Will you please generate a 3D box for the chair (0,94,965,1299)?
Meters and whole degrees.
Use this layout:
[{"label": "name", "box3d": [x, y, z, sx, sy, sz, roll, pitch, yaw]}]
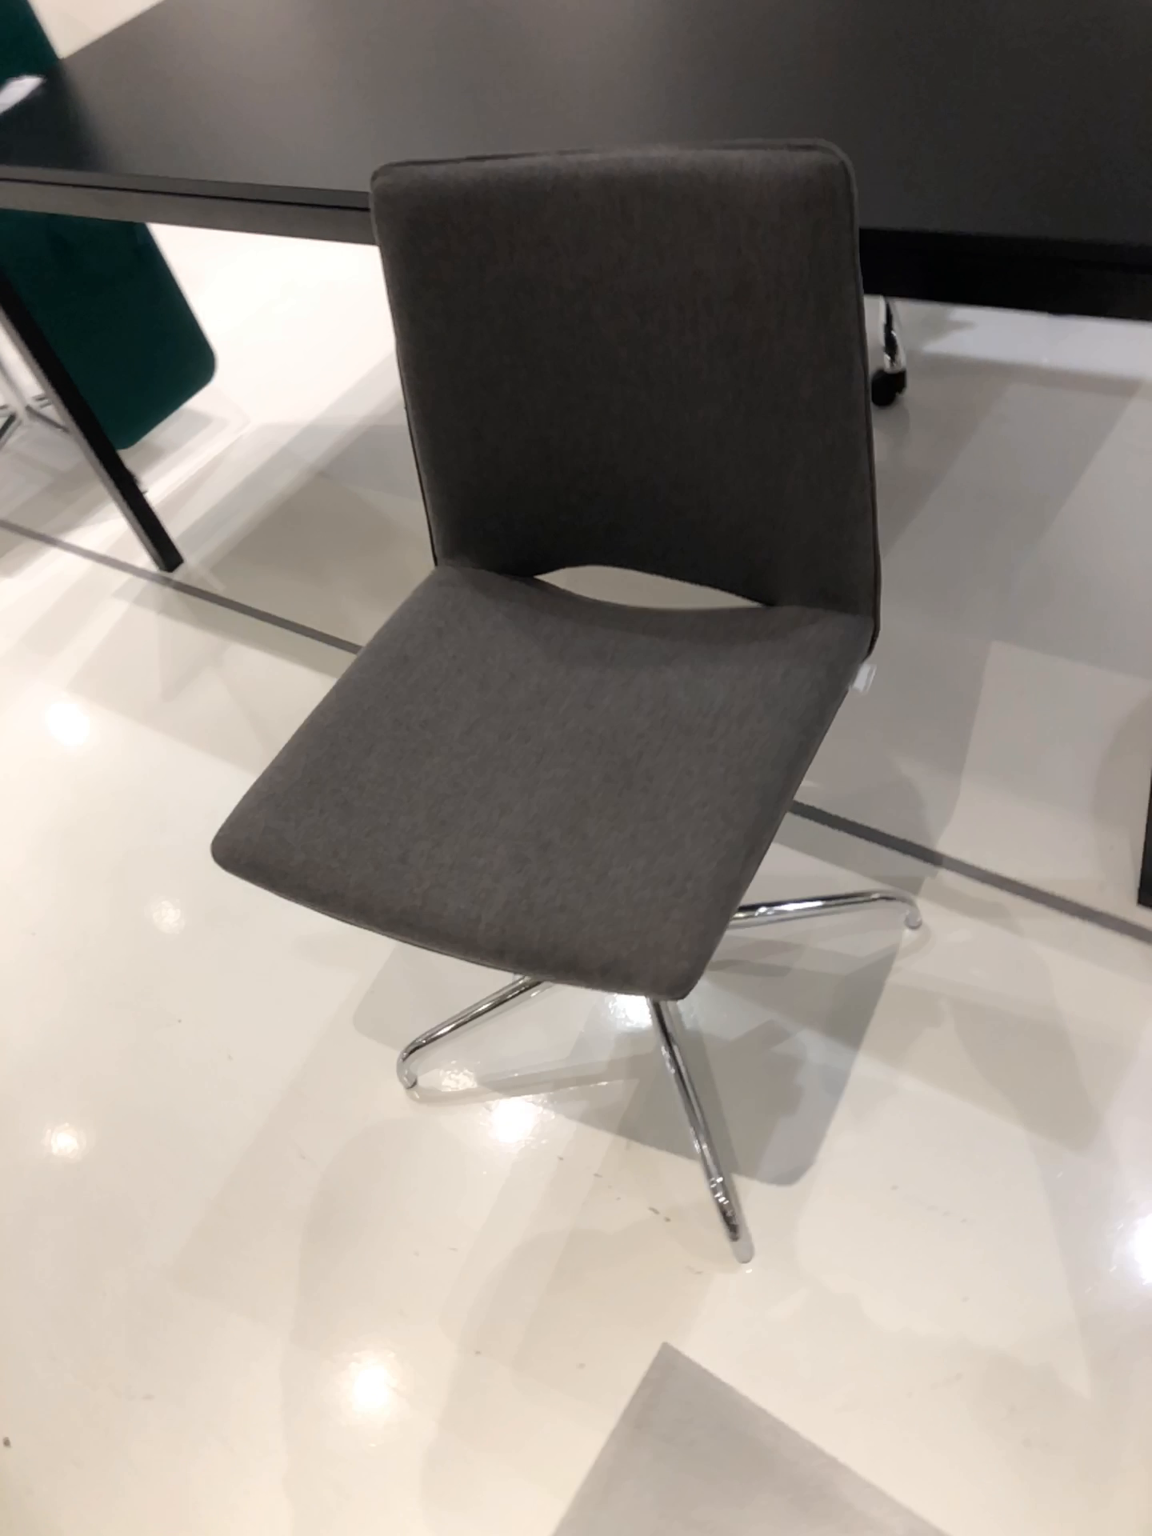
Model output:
[{"label": "chair", "box3d": [0.003, -0.032, 1.140, 0.521, 0.835, 0.552, 11, 53, 28]}]
